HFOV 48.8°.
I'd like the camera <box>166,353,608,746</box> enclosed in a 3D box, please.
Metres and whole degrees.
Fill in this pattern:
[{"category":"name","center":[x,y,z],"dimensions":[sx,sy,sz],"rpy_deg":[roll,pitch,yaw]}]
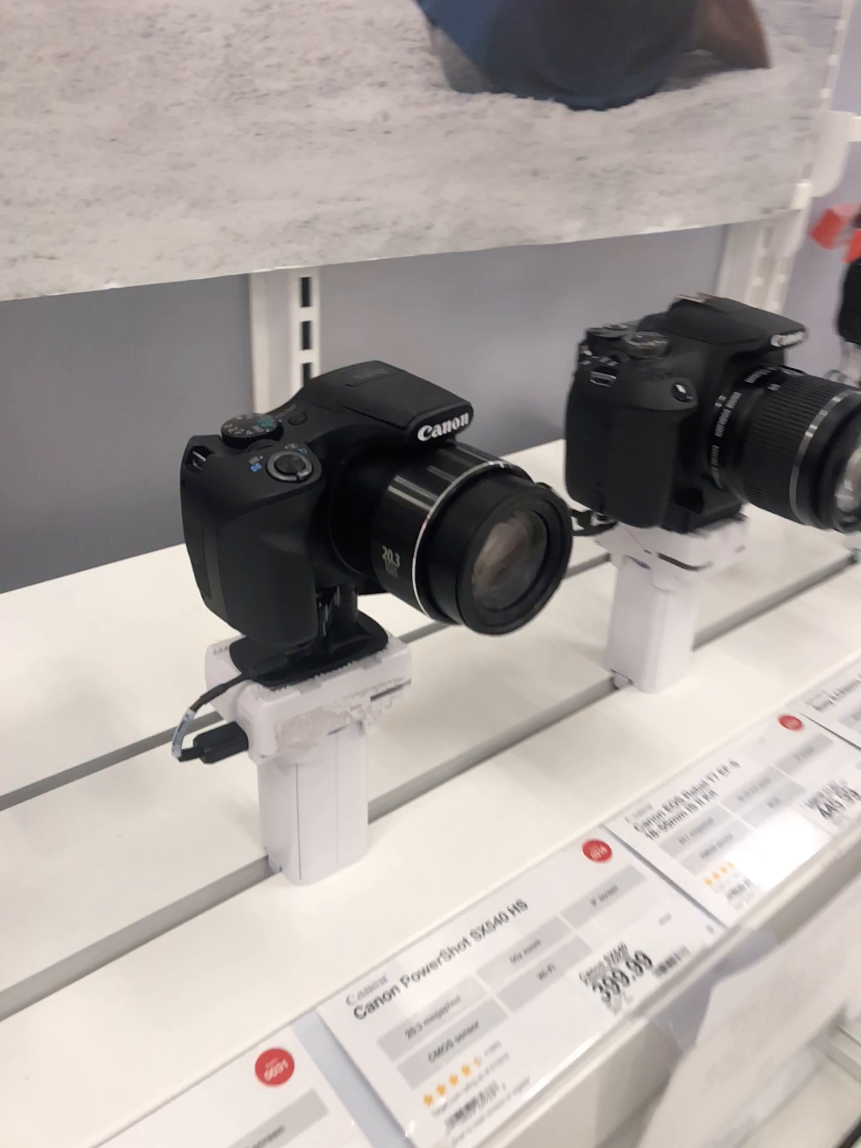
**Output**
[{"category":"camera","center":[-0.016,-0.017,0.319],"dimensions":[0.100,0.076,0.099],"rpy_deg":[-22,37,-38]}]
